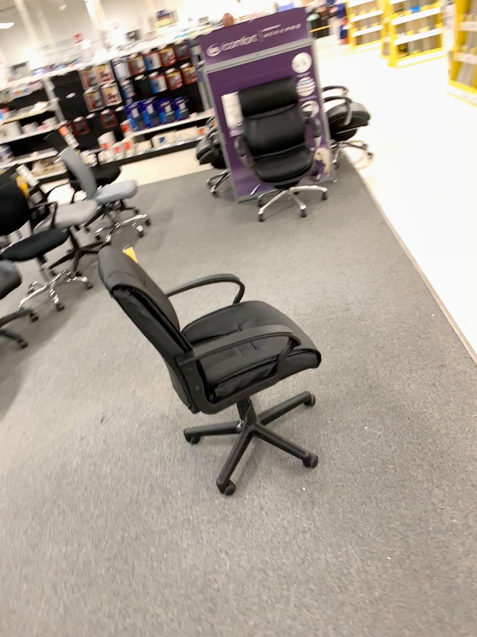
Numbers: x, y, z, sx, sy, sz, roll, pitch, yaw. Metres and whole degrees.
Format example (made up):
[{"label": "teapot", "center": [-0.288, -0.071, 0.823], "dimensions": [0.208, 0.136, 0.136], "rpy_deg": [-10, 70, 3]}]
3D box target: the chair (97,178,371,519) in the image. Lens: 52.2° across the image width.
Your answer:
[{"label": "chair", "center": [-0.026, 0.073, 1.932], "dimensions": [0.700, 0.965, 0.683], "rpy_deg": [-21, 27, -9]}]
